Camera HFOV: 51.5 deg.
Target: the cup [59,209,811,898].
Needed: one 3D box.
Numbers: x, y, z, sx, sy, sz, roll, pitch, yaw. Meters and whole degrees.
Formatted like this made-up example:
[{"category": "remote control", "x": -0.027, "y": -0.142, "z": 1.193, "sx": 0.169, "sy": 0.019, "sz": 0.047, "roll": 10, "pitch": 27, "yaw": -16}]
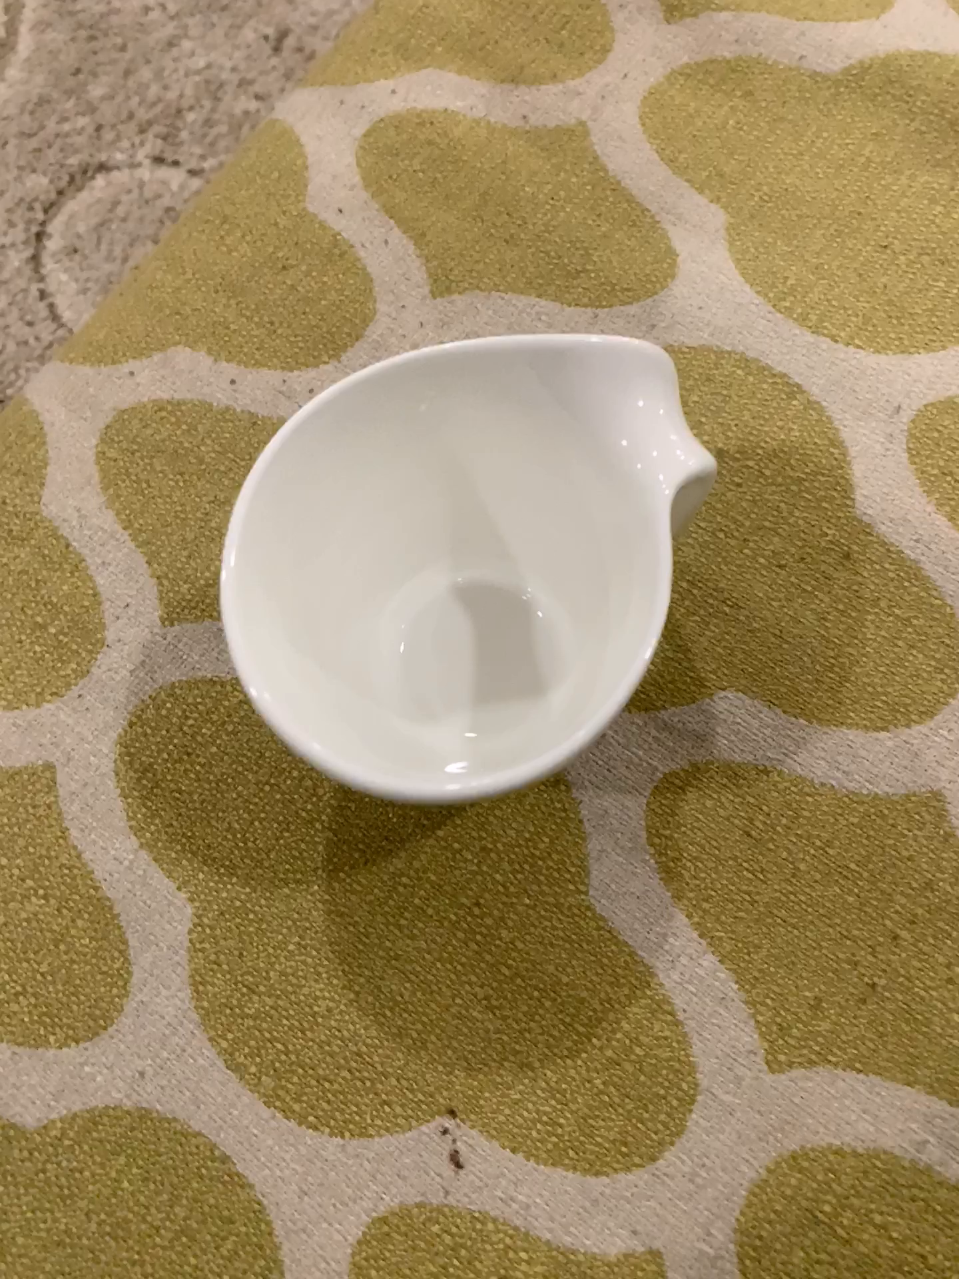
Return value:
[{"category": "cup", "x": -0.009, "y": -0.012, "z": 0.217, "sx": 0.108, "sy": 0.079, "sz": 0.089, "roll": -27, "pitch": 73, "yaw": -4}]
